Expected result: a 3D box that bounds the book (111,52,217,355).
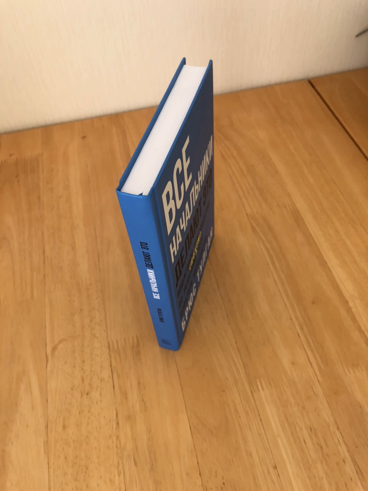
[{"bbox_3d":[-0.001,-0.022,0.347,0.025,0.208,0.150,10,54,12],"label":"book"}]
